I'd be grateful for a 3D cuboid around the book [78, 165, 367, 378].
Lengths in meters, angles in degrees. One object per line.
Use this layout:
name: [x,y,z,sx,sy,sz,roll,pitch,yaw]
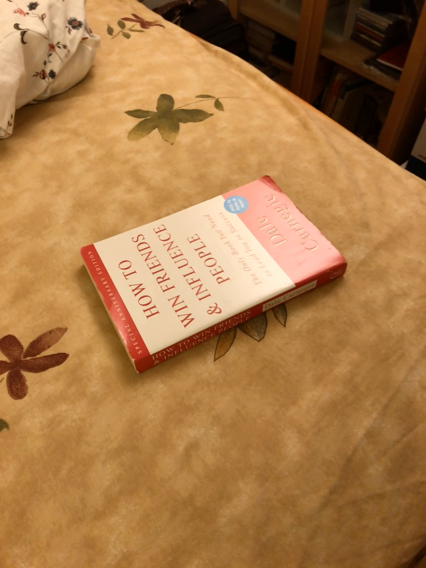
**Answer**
book: [0.006,-0.026,0.434,0.220,0.020,0.151,-24,56,-16]
